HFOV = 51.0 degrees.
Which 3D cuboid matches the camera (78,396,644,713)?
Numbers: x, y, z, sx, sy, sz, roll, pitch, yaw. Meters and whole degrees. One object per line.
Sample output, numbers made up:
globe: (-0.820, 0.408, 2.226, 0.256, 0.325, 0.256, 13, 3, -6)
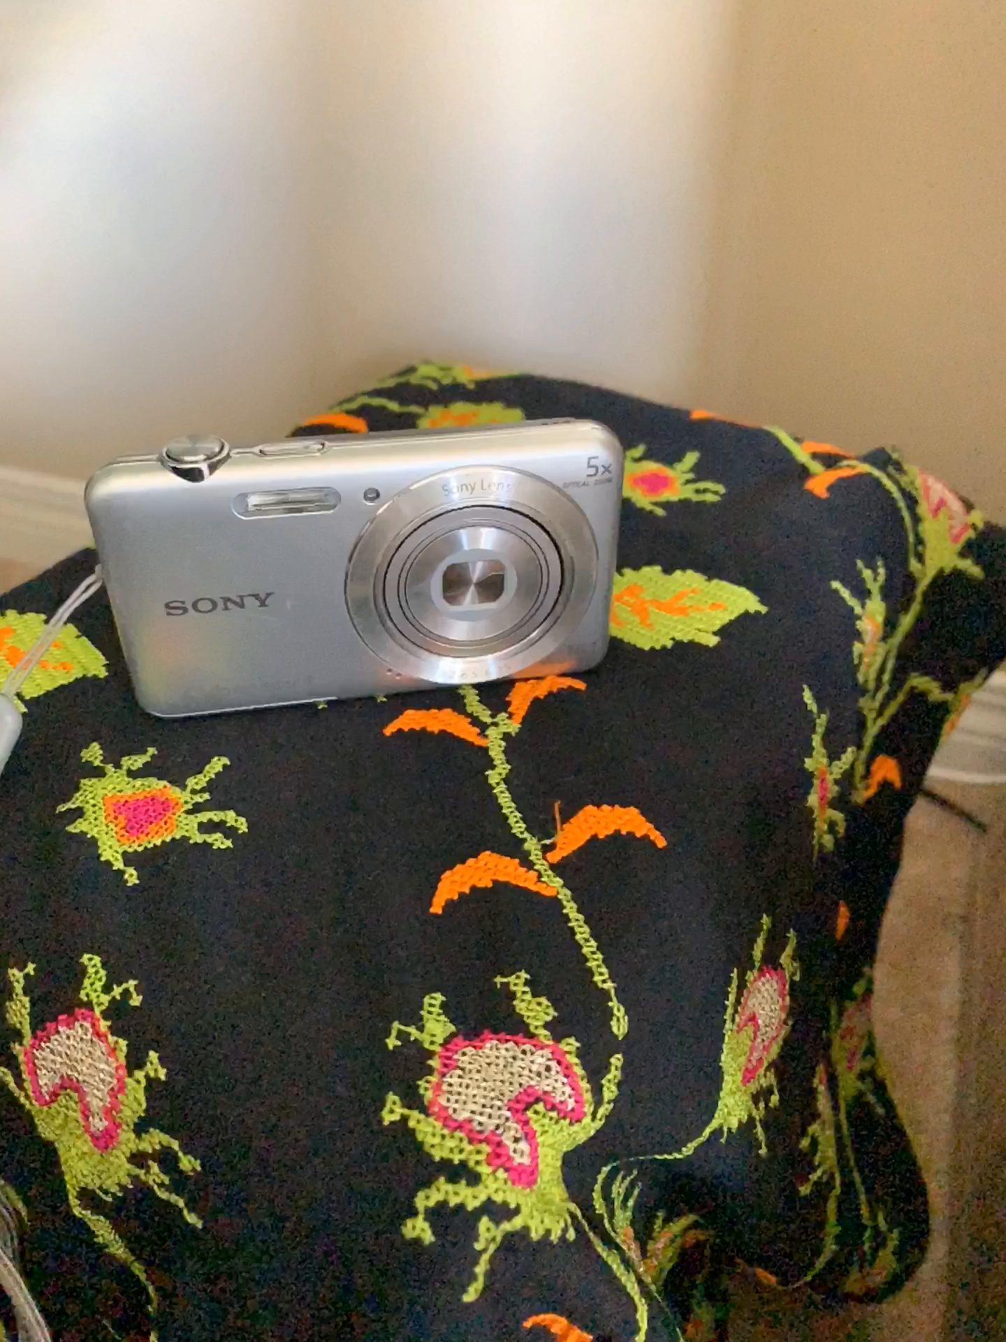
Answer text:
camera: (-0.022, -0.020, 0.181, 0.086, 0.042, 0.020, -6, 37, -9)
